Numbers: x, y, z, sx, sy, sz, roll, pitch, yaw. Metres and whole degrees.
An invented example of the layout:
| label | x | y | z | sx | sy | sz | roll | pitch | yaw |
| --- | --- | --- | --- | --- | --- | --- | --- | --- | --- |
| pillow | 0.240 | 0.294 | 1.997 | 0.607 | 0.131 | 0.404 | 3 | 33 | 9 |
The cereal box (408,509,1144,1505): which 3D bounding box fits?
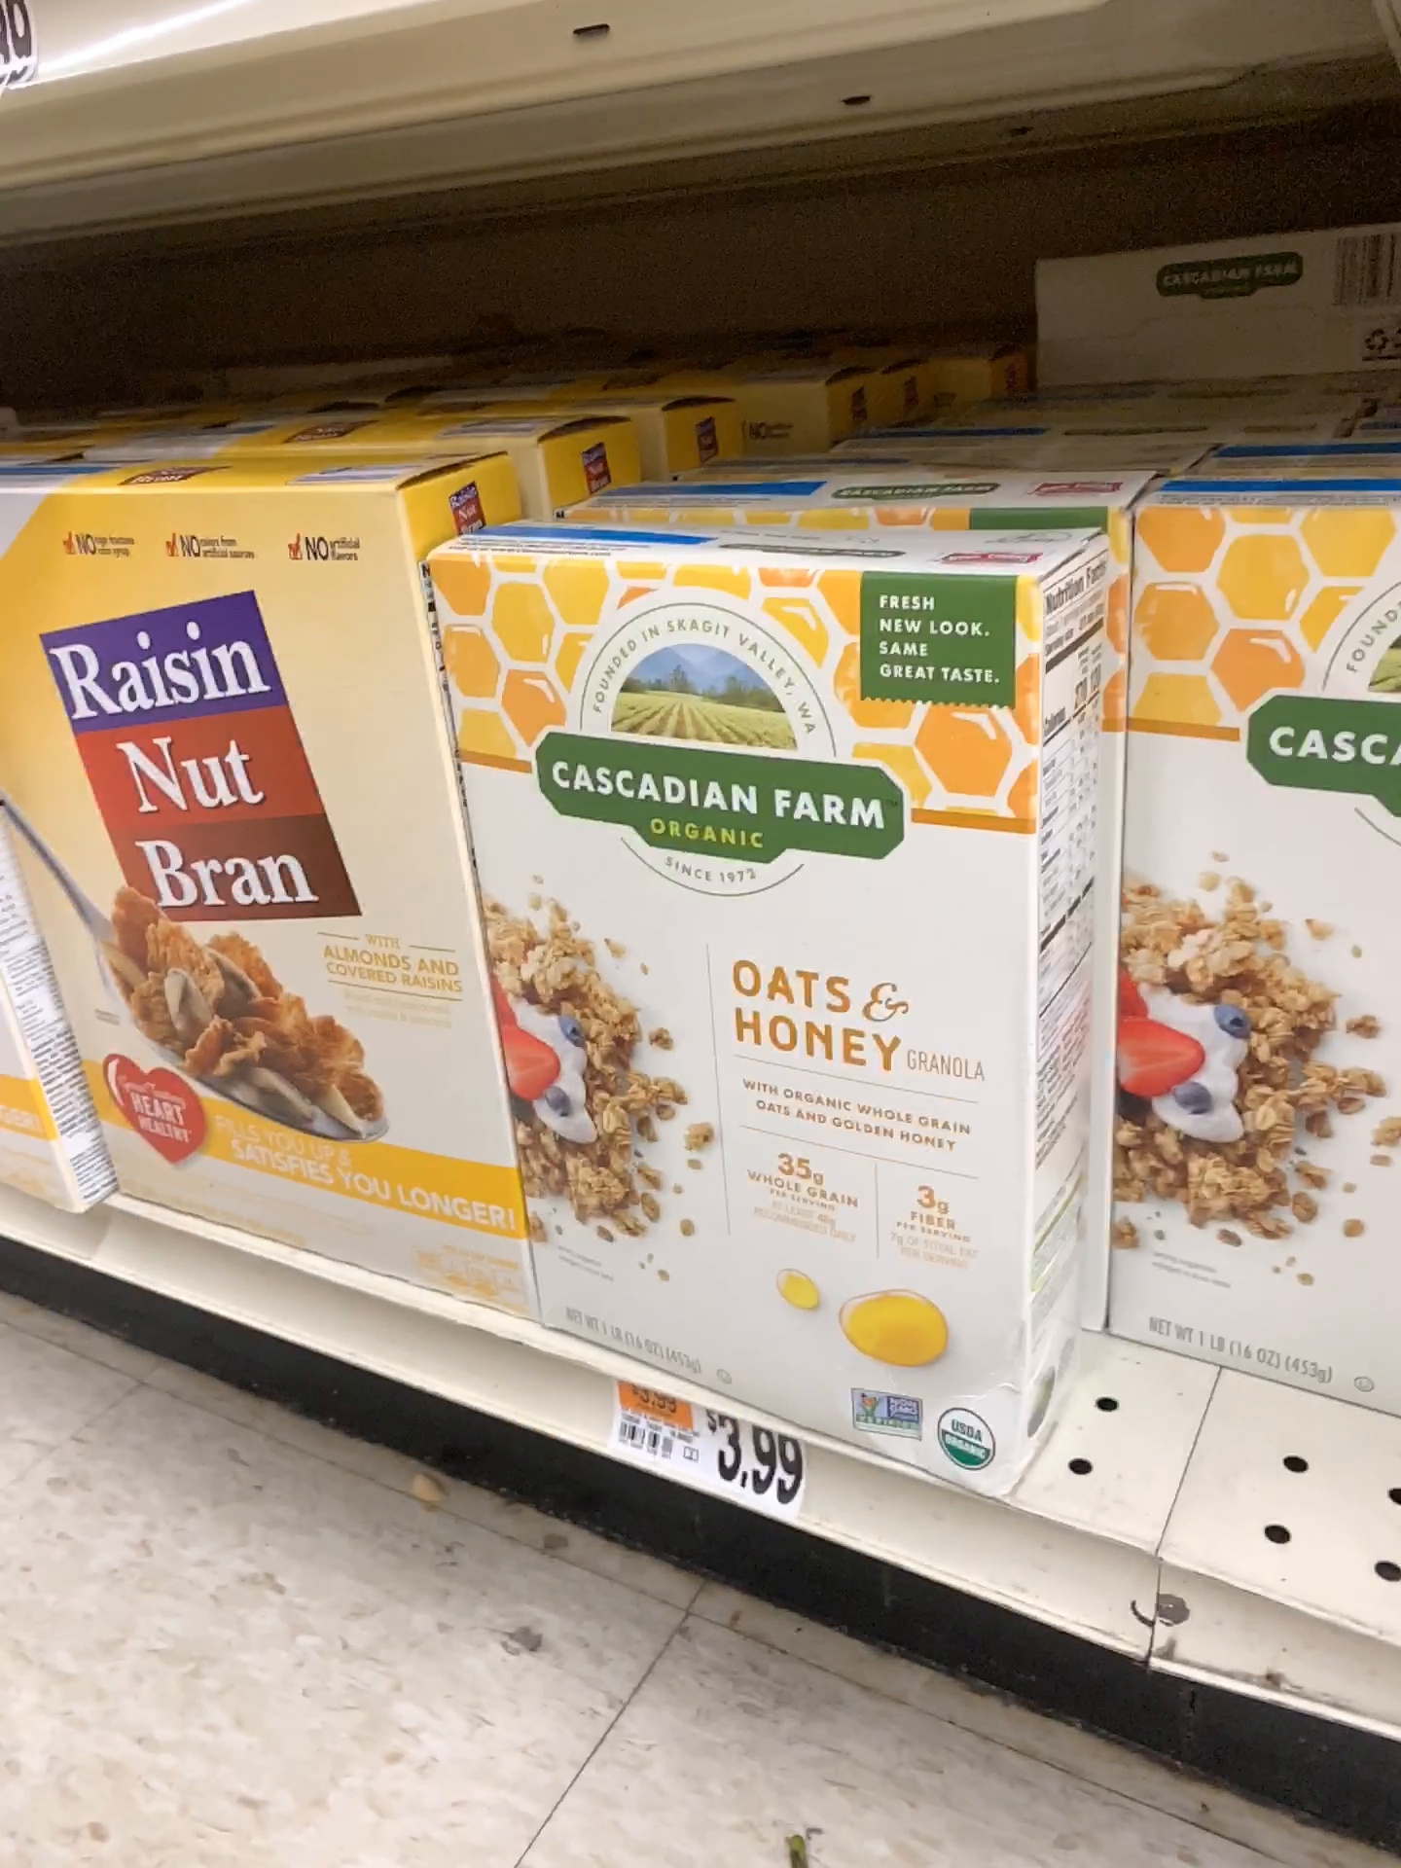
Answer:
| label | x | y | z | sx | sy | sz | roll | pitch | yaw |
| --- | --- | --- | --- | --- | --- | --- | --- | --- | --- |
| cereal box | 0.021 | 0.013 | 0.377 | 0.160 | 0.229 | 0.060 | 11 | 28 | 31 |
